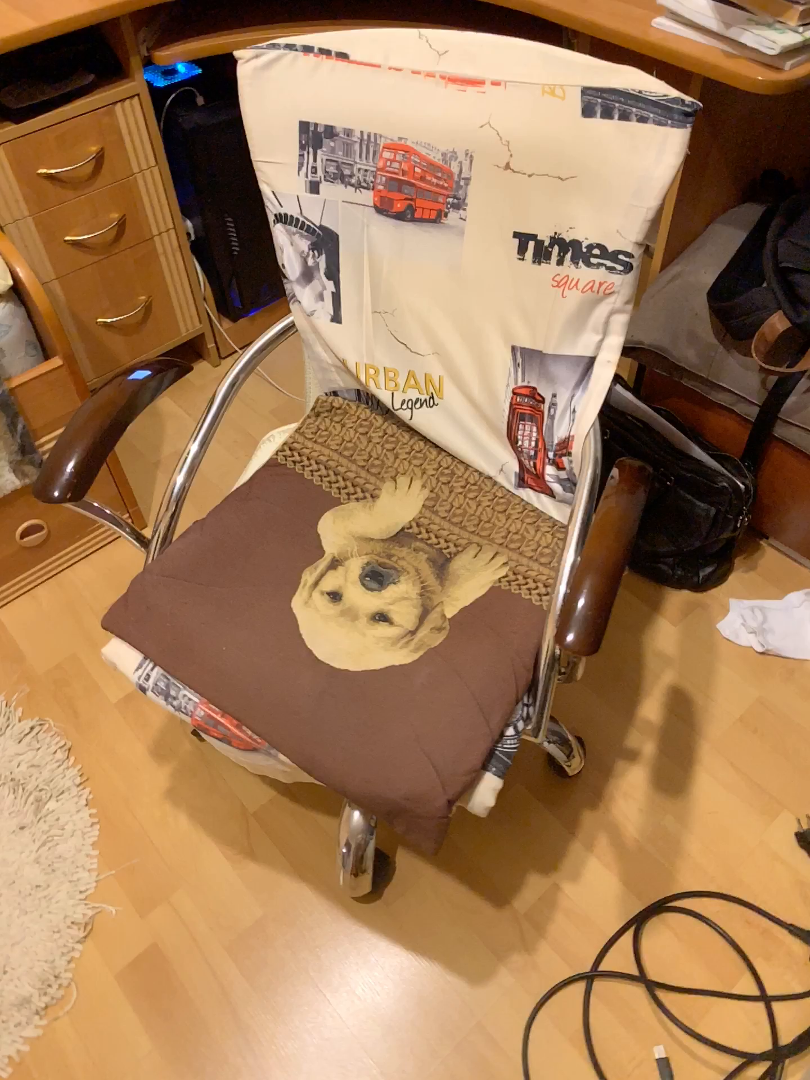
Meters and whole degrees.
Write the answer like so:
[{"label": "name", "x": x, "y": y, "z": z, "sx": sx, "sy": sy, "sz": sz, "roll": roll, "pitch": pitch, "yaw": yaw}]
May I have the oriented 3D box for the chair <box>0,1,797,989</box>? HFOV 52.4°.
[{"label": "chair", "x": -0.008, "y": -0.019, "z": 0.803, "sx": 0.475, "sy": 0.665, "sz": 0.567, "roll": 16, "pitch": 54, "yaw": 13}]
